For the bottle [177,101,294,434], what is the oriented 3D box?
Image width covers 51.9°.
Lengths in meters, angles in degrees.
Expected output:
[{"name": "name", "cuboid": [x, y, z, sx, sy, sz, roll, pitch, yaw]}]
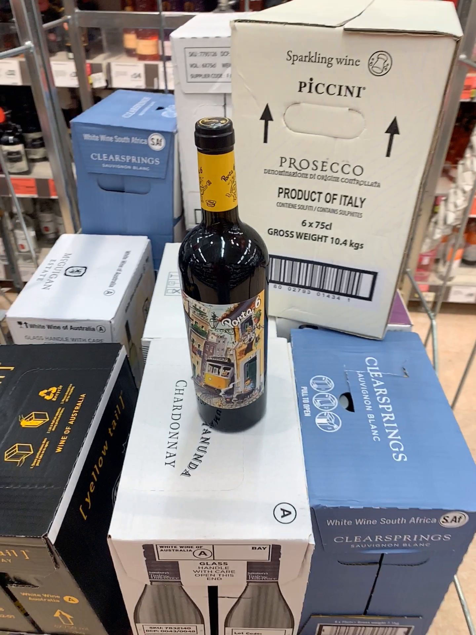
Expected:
[{"name": "bottle", "cuboid": [-0.001, -0.027, 0.441, 0.078, 0.295, 0.077, 1, 36, -1]}]
